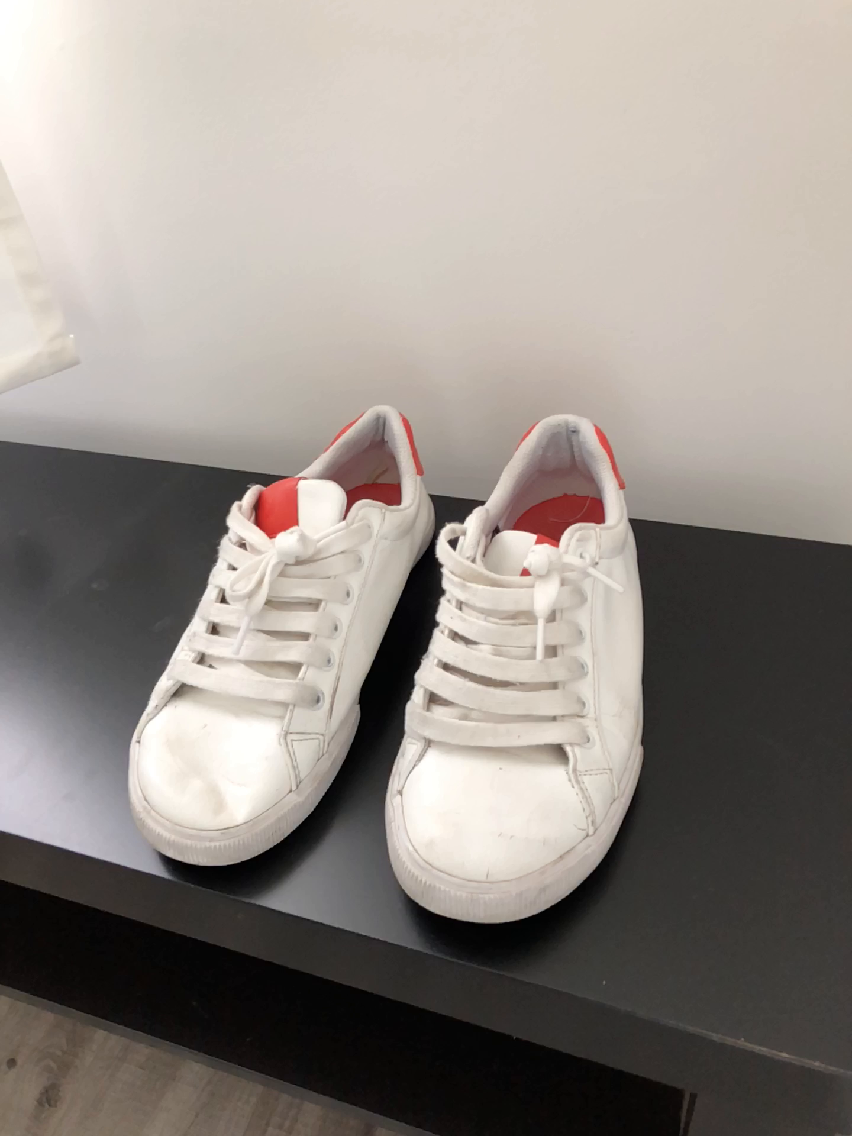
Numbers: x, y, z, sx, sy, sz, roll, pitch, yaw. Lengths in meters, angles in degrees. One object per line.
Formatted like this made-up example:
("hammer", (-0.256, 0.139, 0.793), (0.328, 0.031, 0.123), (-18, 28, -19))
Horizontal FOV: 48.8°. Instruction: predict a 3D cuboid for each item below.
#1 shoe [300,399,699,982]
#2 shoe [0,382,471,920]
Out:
("shoe", (0.046, 0.029, 0.387), (0.100, 0.080, 0.230), (8, 43, 17))
("shoe", (-0.063, 0.016, 0.417), (0.102, 0.080, 0.236), (8, 43, 17))
